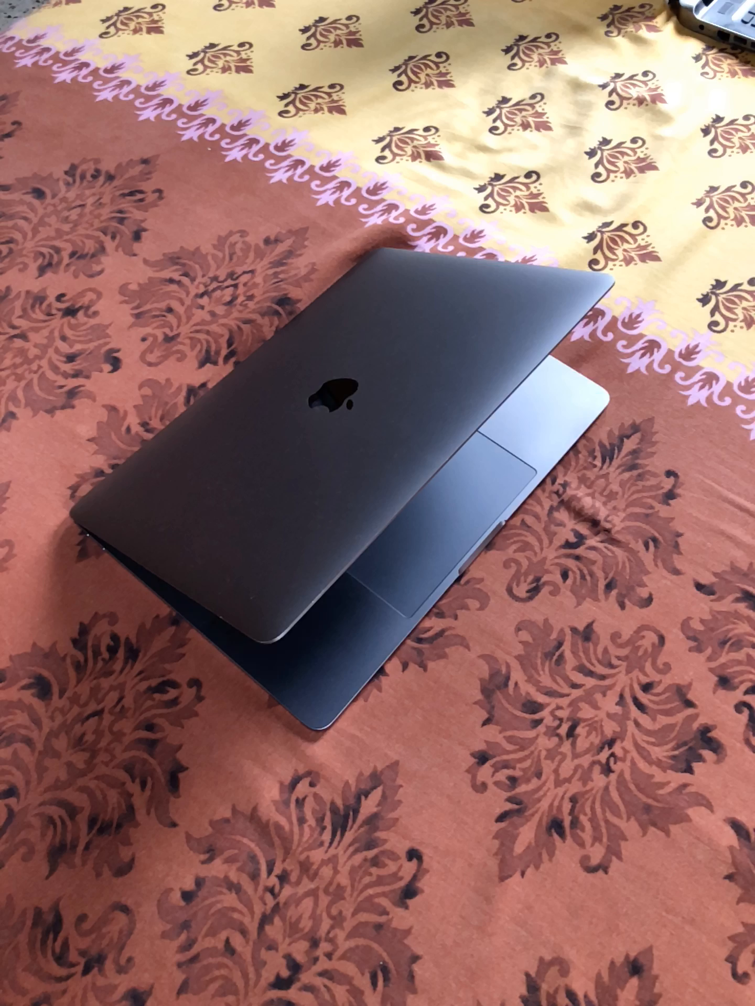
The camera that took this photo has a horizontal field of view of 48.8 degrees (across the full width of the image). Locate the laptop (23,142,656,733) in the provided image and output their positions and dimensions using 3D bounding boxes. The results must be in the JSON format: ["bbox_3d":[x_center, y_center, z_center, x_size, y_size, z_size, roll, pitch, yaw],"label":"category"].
[{"bbox_3d":[-0.014,-0.054,0.486,0.204,0.093,0.286,36,68,19],"label":"laptop"}]
